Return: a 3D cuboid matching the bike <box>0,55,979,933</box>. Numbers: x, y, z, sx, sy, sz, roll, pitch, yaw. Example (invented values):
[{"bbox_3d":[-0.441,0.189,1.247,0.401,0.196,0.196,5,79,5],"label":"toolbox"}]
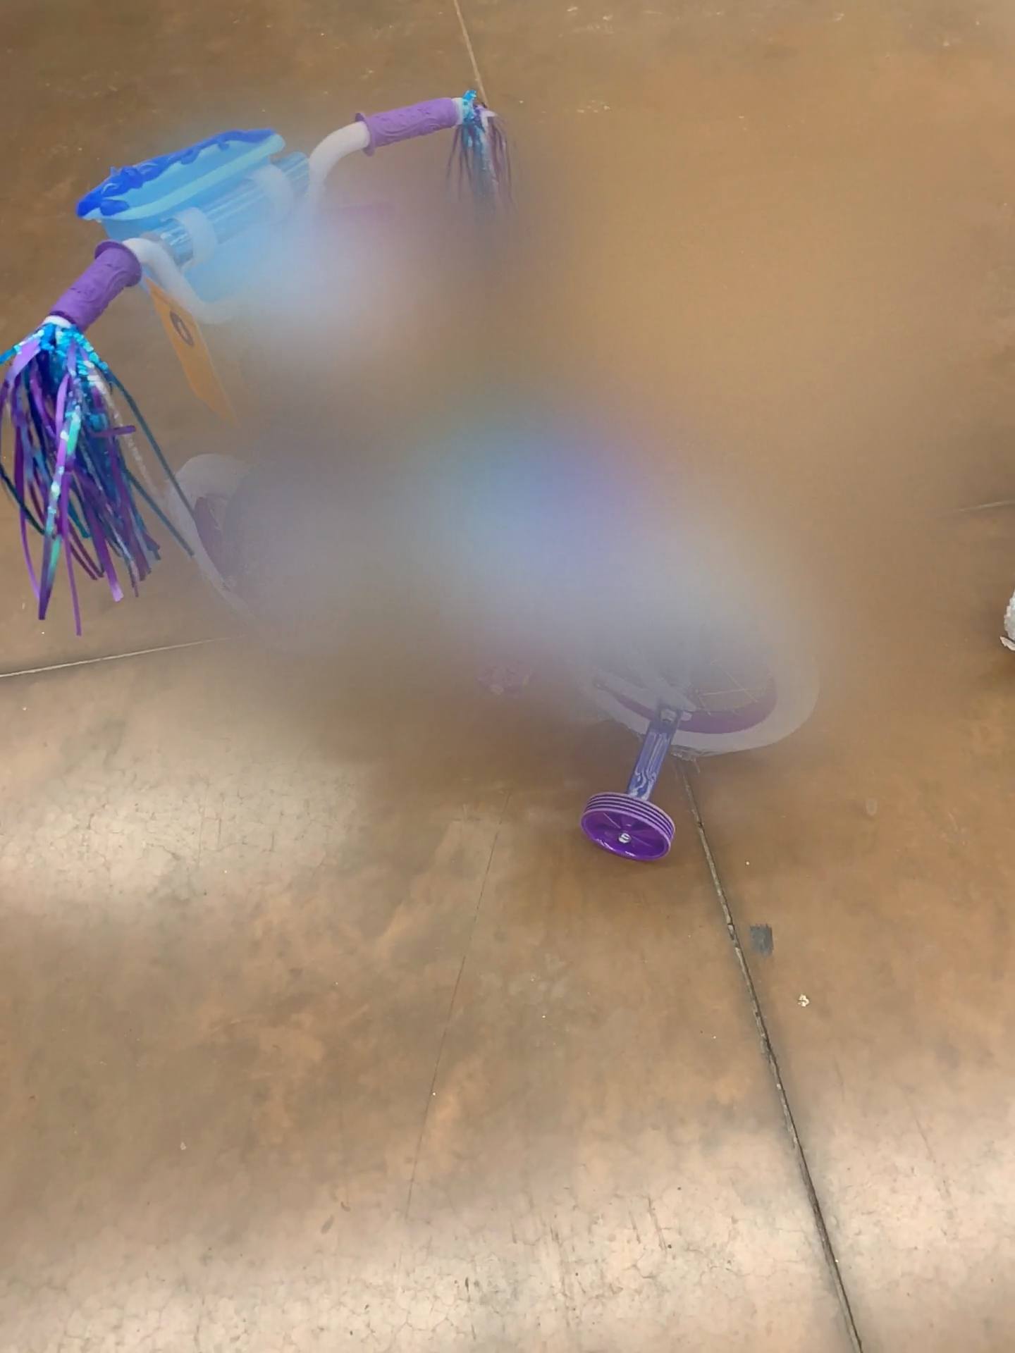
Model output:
[{"bbox_3d":[-0.008,-0.148,1.026,0.651,0.643,0.473,12,58,13],"label":"bike"}]
